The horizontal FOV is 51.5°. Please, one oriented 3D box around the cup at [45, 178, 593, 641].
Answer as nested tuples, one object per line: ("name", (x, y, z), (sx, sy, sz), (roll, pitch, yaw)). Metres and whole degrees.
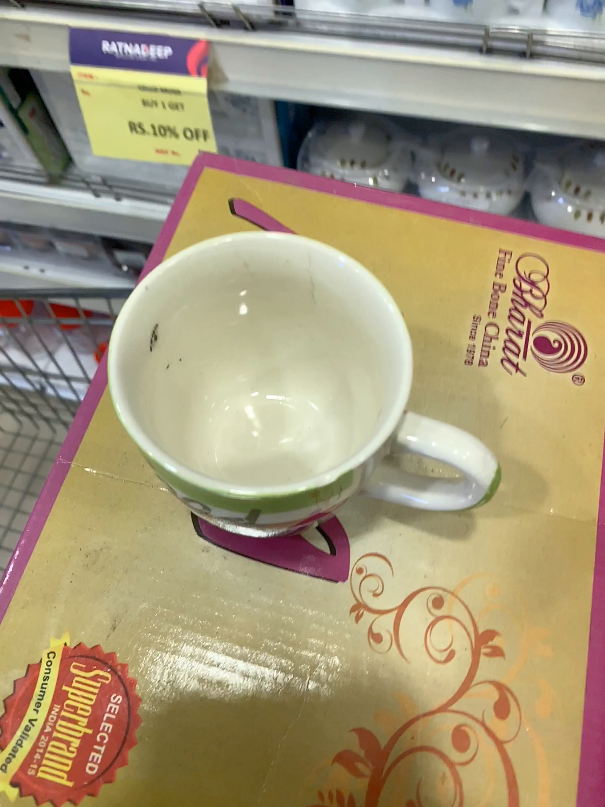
("cup", (0.007, 0.001, 0.177), (0.110, 0.060, 0.080), (20, 63, 10))
